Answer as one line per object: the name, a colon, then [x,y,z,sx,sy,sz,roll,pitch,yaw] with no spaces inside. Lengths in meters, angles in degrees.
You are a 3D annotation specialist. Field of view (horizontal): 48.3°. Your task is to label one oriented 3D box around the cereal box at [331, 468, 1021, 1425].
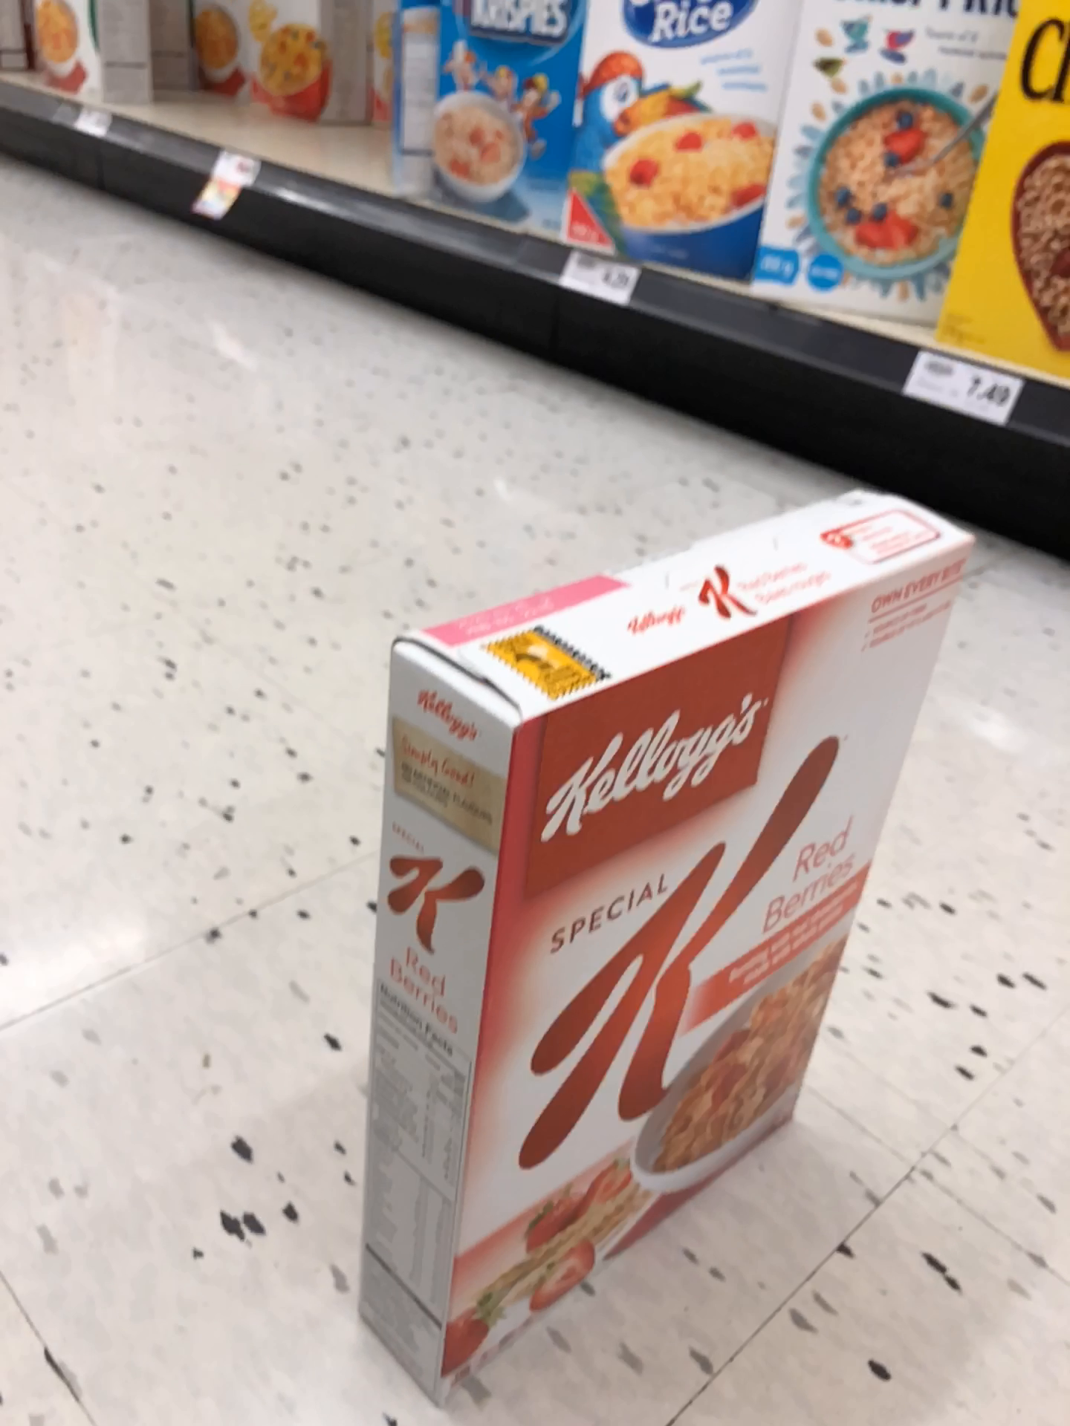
cereal box: [0.041,0.070,0.389,0.211,0.258,0.060,-21,40,-38]
